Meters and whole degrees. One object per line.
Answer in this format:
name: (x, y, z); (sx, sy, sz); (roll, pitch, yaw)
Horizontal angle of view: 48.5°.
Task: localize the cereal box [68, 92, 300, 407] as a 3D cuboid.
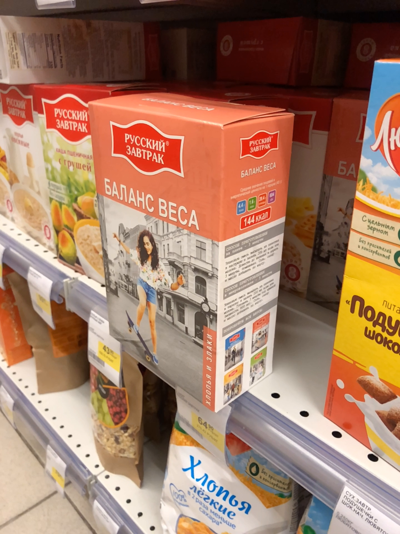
cereal box: (-0.016, -0.023, 0.318); (0.070, 0.179, 0.140); (-23, 34, -39)
